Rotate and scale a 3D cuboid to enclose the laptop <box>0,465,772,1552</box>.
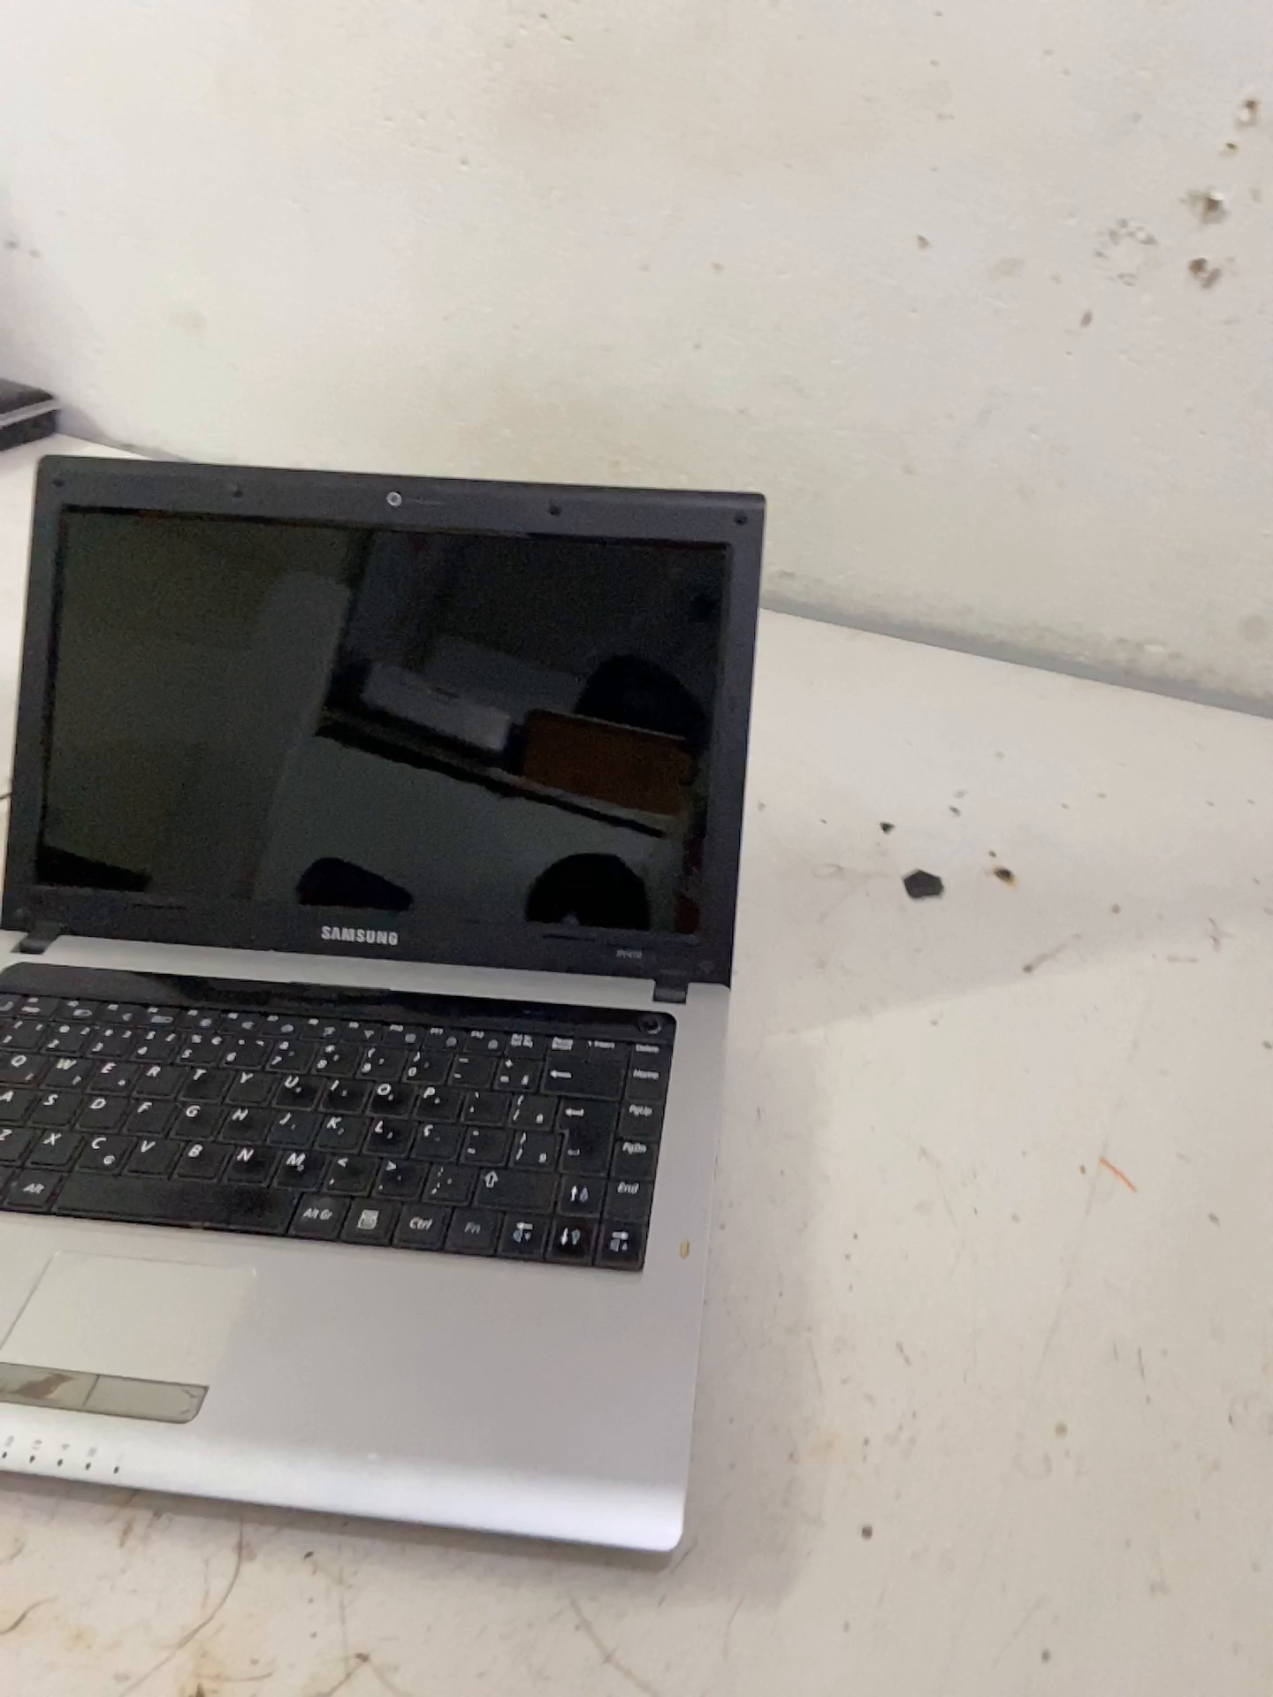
[{"bbox_3d":[-0.132,0.011,0.479,0.334,0.172,0.364,5,35,5],"label":"laptop"}]
